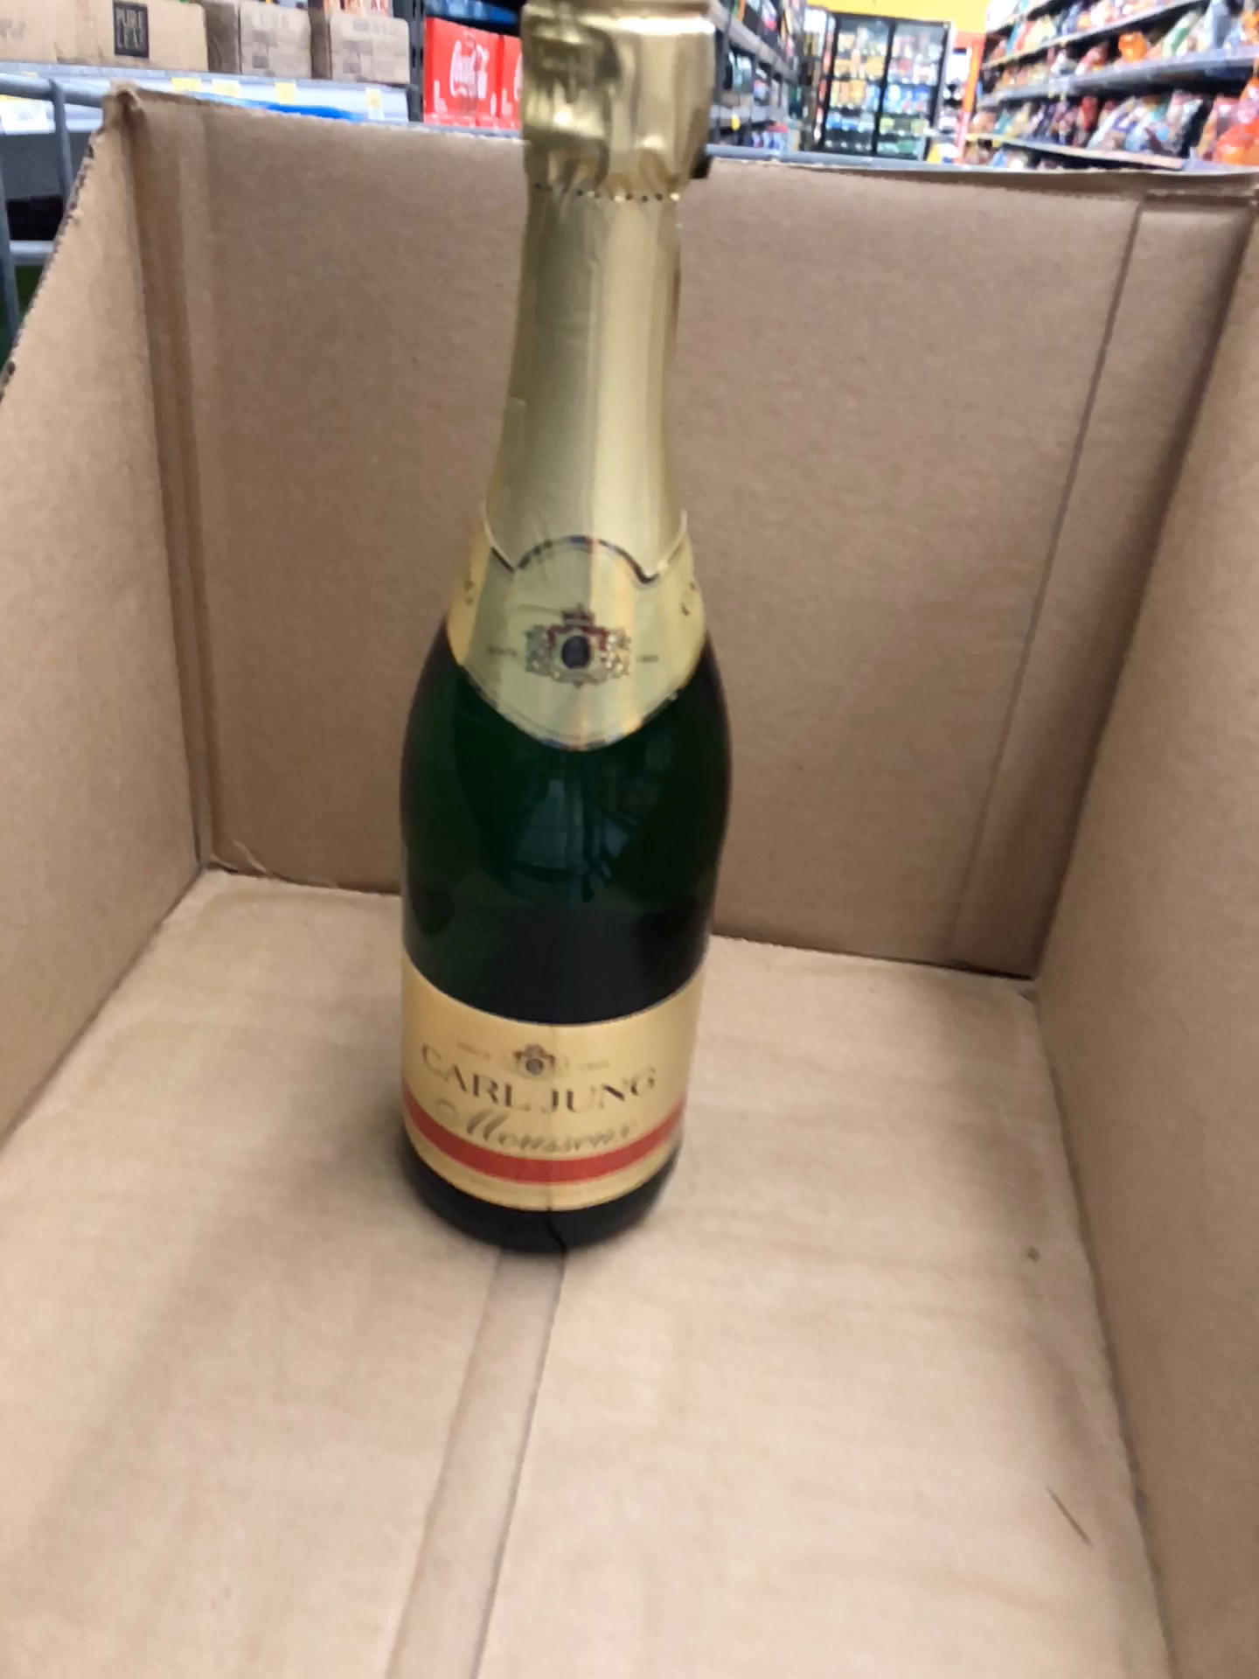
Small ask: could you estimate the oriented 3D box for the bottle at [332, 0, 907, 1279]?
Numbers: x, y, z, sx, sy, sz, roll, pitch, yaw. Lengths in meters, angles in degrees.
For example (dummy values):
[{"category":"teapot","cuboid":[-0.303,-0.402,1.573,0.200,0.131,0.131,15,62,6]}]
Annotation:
[{"category":"bottle","cuboid":[-0.011,-0.041,0.317,0.090,0.288,0.081,7,28,2]}]
